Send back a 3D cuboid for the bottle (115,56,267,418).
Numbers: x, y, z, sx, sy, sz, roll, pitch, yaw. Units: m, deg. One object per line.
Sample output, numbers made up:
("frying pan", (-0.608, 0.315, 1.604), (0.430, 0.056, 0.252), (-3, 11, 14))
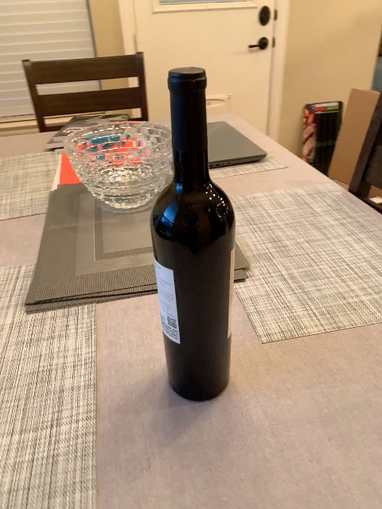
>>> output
("bottle", (0.001, 0.004, 0.368), (0.090, 0.328, 0.084), (-2, 32, 1))
